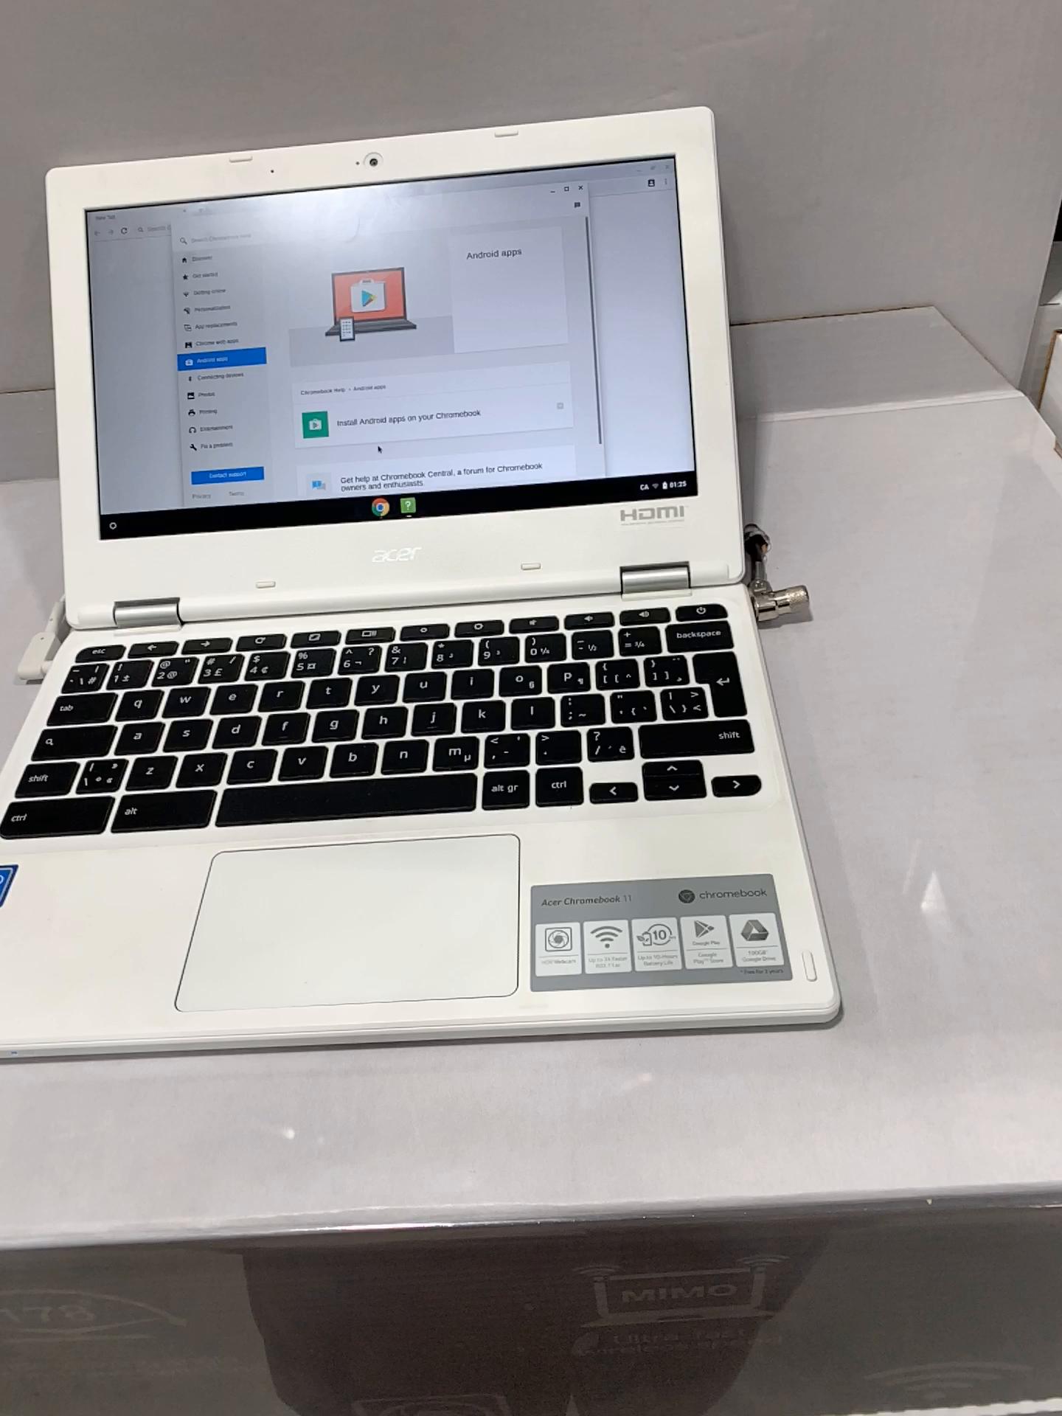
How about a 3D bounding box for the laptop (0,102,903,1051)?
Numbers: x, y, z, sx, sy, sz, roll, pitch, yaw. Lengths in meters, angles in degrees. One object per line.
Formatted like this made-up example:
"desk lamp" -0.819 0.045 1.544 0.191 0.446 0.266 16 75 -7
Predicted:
"laptop" -0.060 -0.071 0.387 0.282 0.132 0.330 -4 46 4
